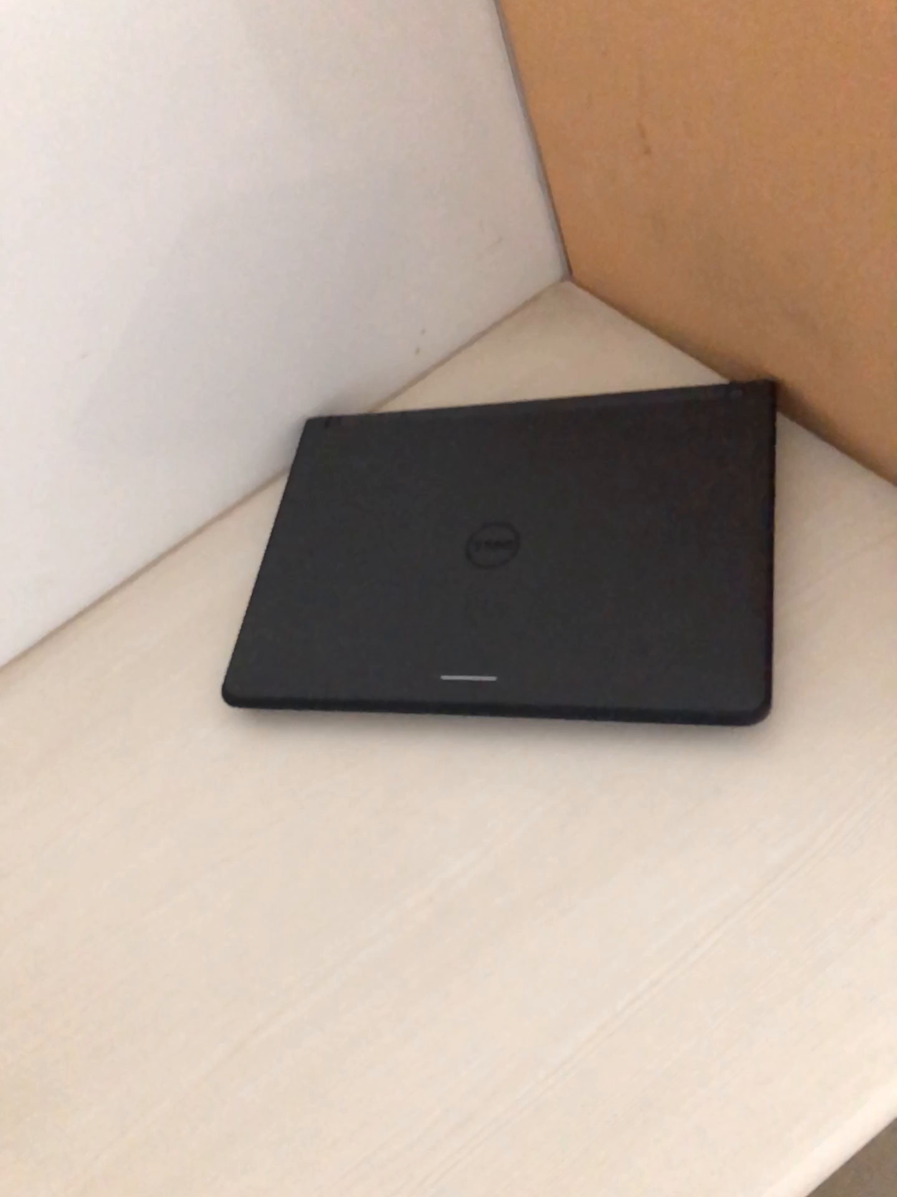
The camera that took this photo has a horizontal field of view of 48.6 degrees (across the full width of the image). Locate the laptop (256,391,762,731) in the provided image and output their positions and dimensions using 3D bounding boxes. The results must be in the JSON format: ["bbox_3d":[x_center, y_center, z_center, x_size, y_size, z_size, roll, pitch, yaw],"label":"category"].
[{"bbox_3d":[0.039,-0.032,0.605,0.291,0.007,0.228,-1,56,22],"label":"laptop"}]
